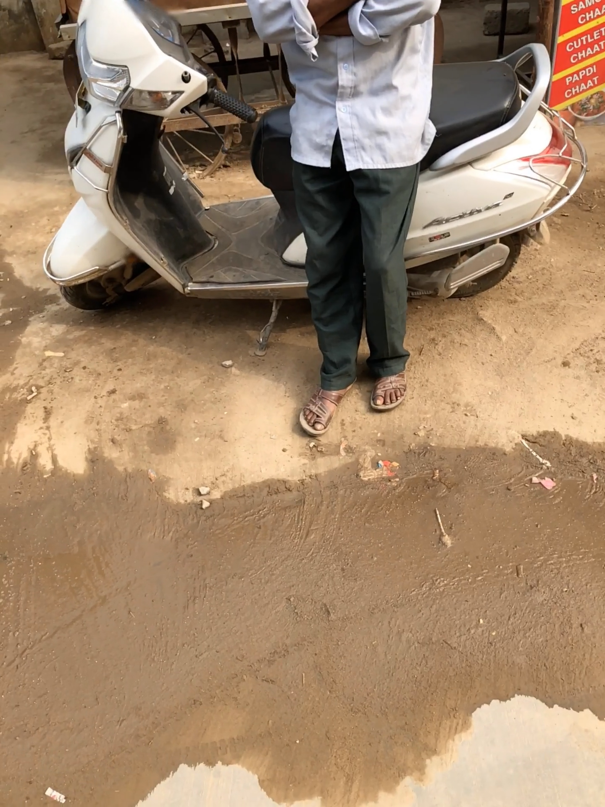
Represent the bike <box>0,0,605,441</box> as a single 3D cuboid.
[{"bbox_3d":[-0.112,-0.581,1.907,1.574,1.112,0.660,-4,41,5],"label":"bike"}]
